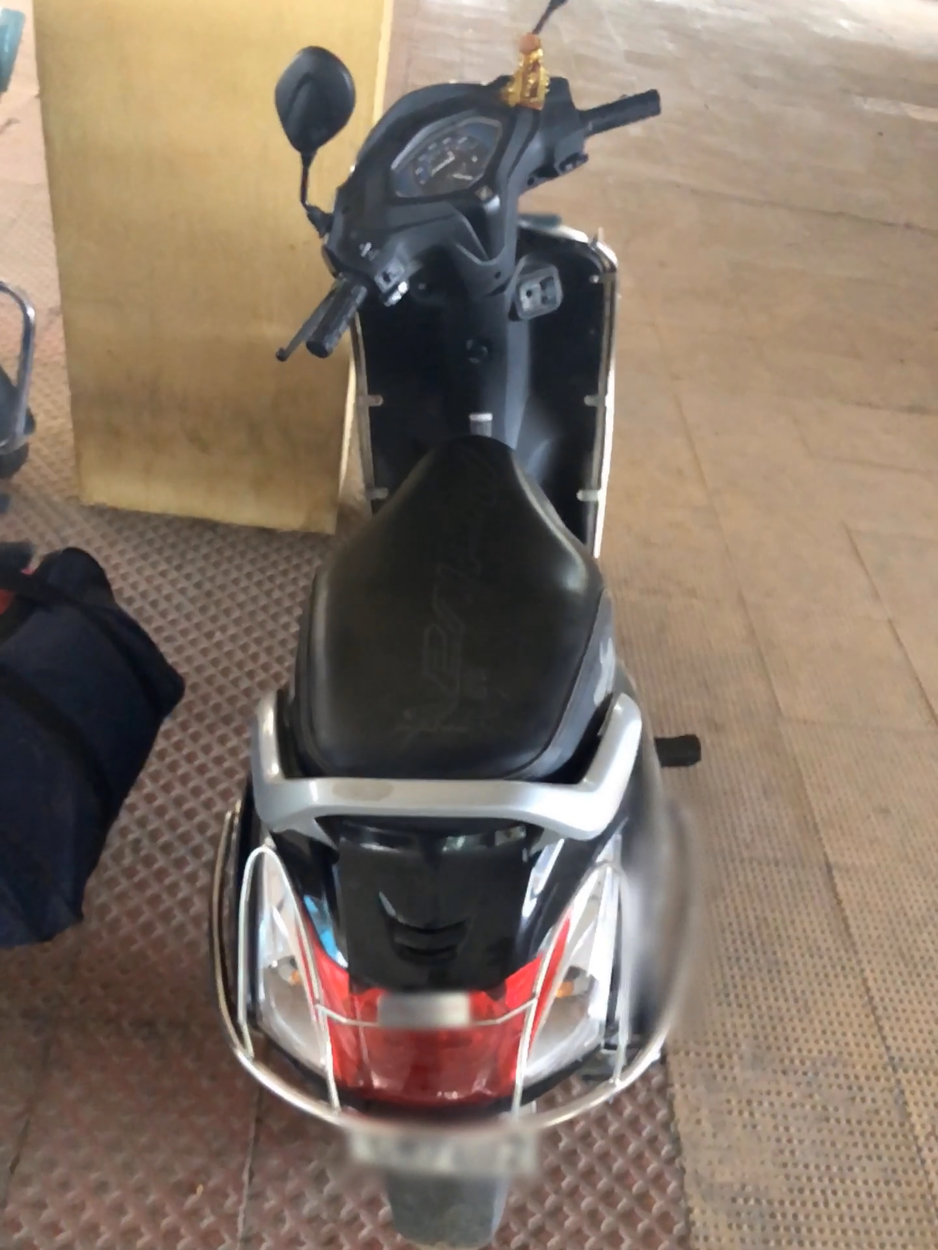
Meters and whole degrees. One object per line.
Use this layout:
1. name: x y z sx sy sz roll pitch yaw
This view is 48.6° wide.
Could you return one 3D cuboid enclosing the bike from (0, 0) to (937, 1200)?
1. bike: -0.165 -0.271 1.486 0.621 0.883 1.667 4 42 -9
